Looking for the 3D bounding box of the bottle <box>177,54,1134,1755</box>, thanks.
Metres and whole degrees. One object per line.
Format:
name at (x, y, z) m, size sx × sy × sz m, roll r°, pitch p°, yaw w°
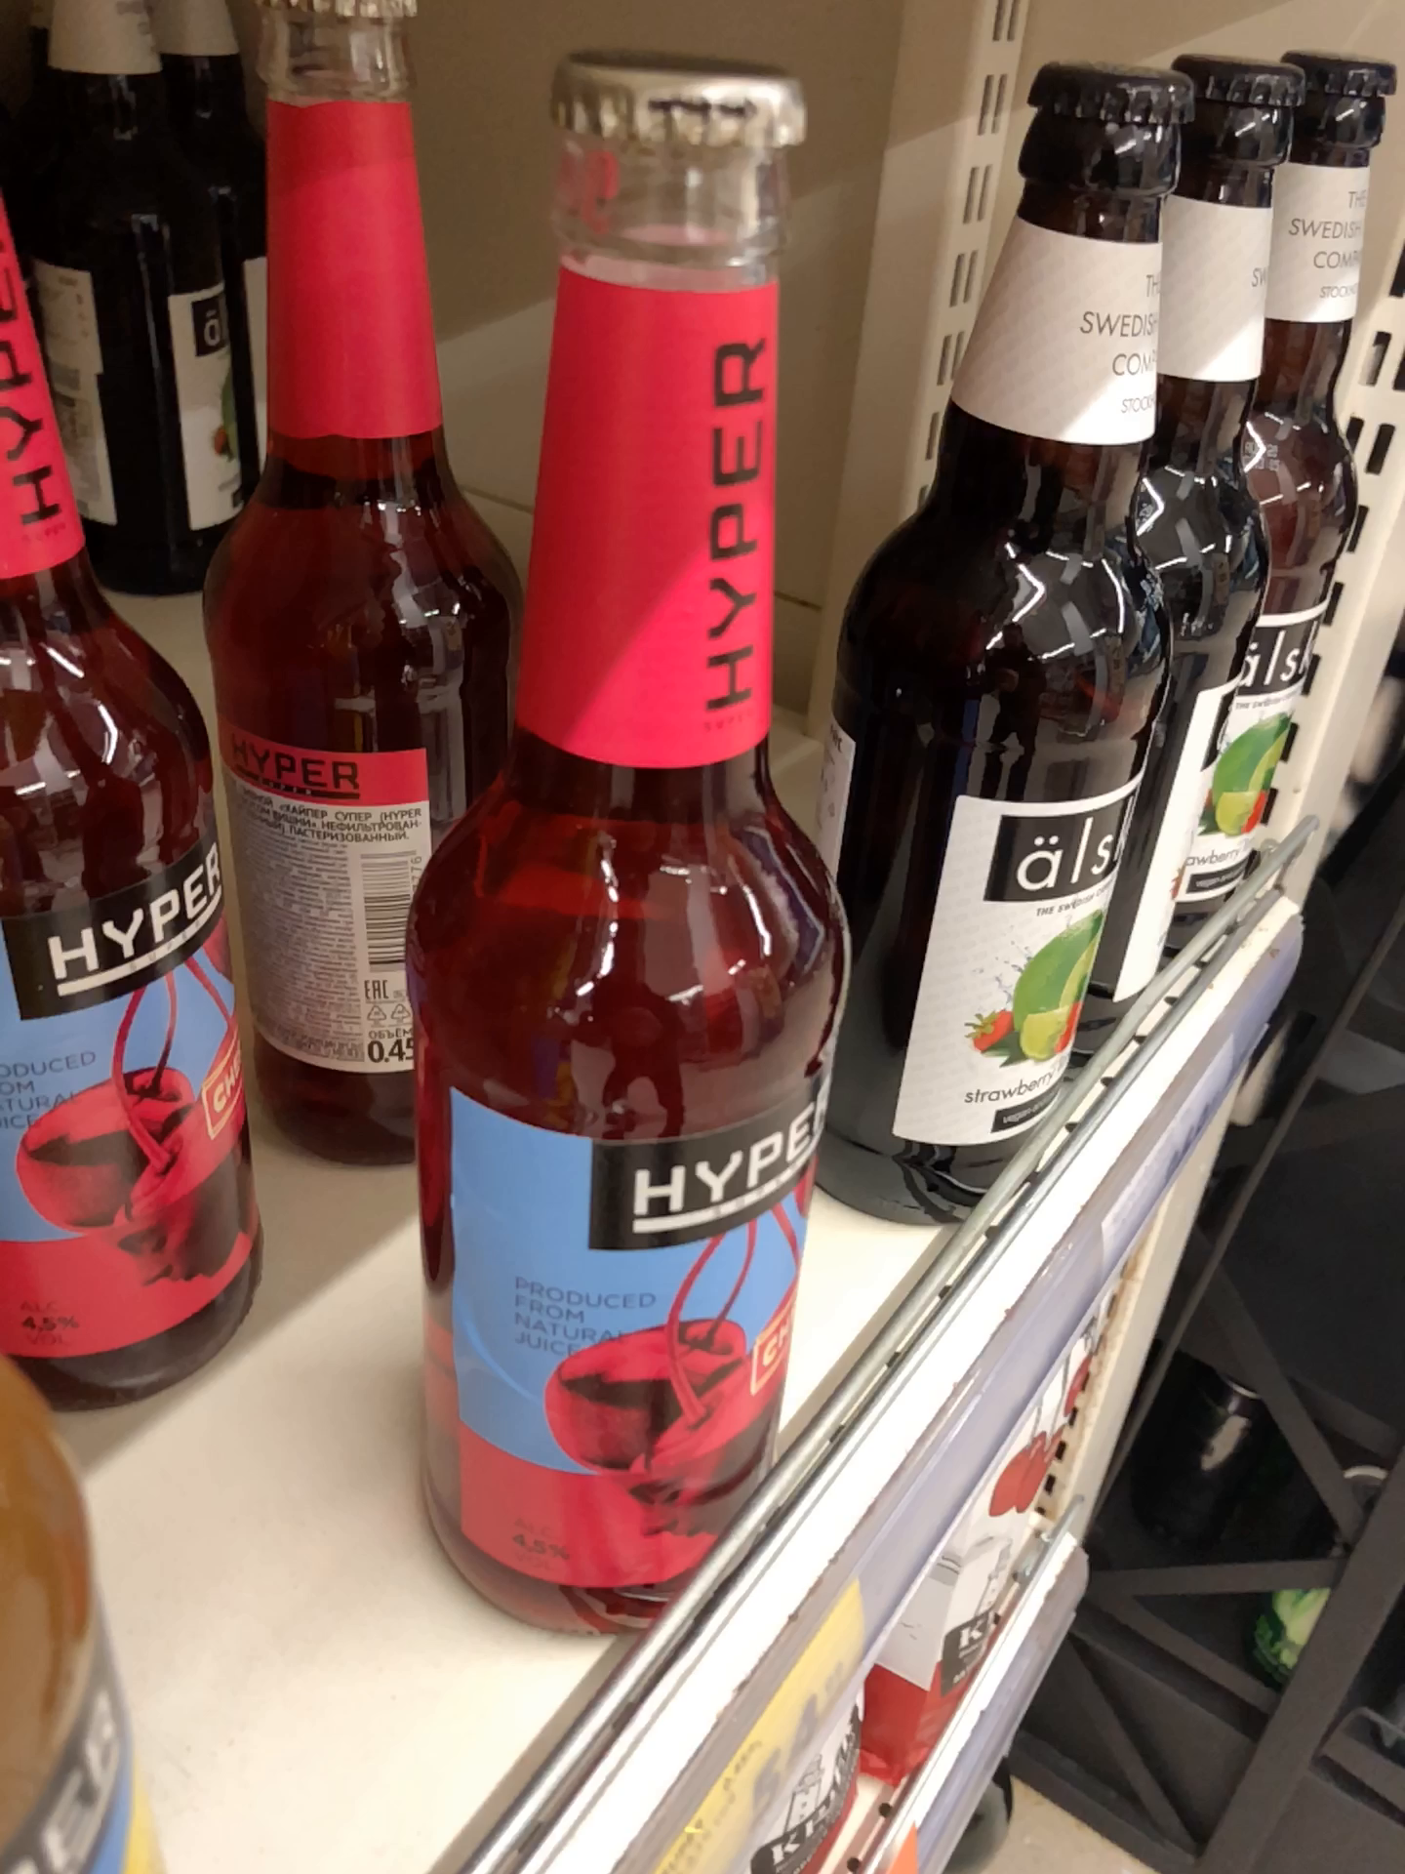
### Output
bottle at (-0.013, 0.007, 0.239) m, size 0.070 × 0.243 × 0.080 m, roll 31°, pitch 42°, yaw 34°
